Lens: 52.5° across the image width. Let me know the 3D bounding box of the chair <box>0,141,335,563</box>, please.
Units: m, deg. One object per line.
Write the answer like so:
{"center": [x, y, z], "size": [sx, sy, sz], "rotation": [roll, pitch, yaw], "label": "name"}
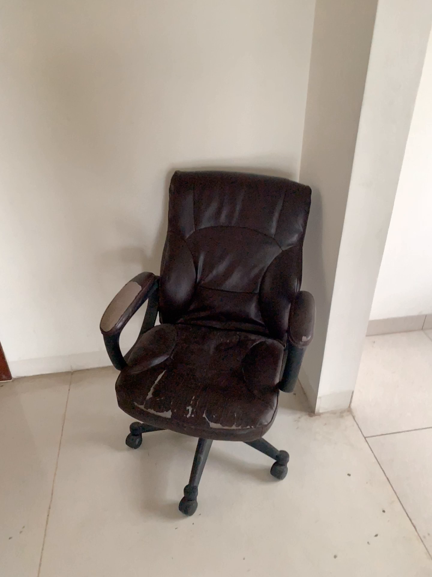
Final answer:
{"center": [-0.043, 0.142, 1.439], "size": [0.700, 0.996, 0.793], "rotation": [7, 33, 12], "label": "chair"}
